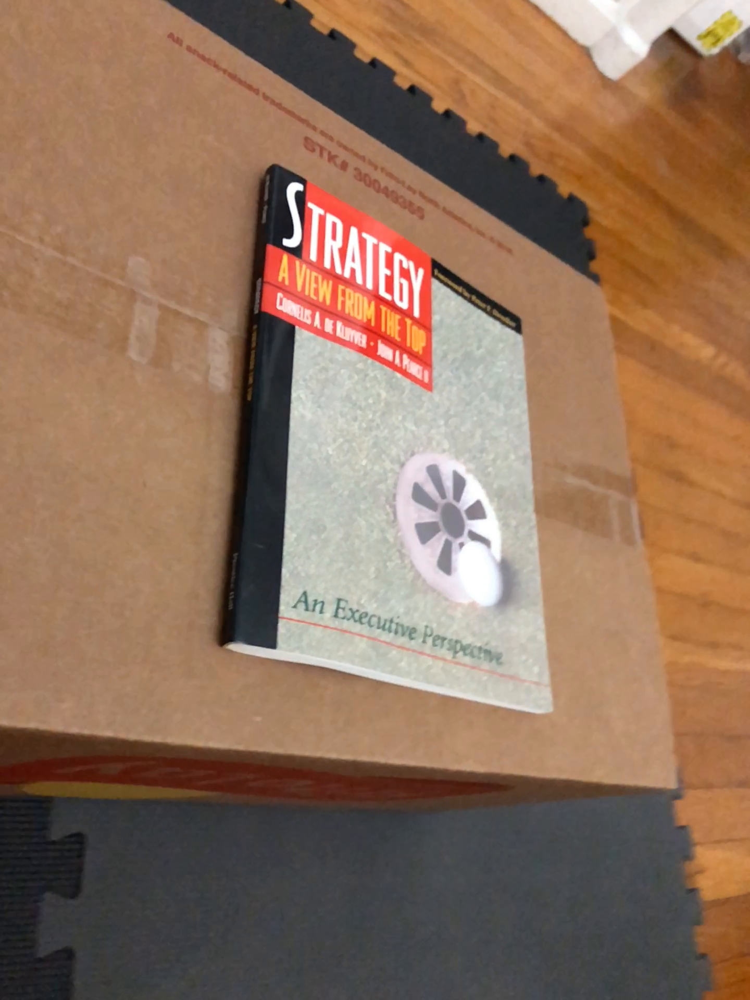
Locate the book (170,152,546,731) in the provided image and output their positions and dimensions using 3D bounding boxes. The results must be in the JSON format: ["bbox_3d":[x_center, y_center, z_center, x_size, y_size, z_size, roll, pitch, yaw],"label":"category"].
[{"bbox_3d":[0.006,-0.026,0.395,0.181,0.020,0.240,20,59,-34],"label":"book"}]
